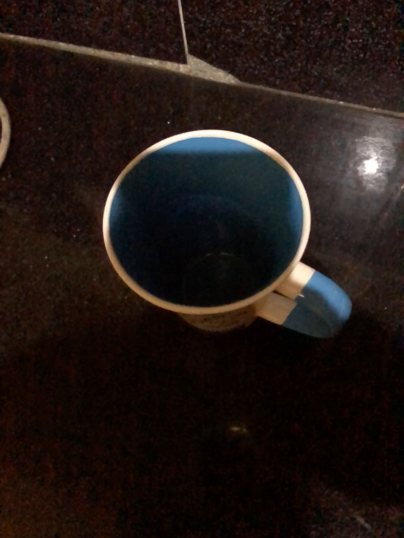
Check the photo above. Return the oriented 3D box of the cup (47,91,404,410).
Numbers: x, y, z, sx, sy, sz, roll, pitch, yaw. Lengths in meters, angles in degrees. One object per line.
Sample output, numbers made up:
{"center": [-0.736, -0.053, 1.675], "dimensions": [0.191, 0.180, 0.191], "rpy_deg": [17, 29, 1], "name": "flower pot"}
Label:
{"center": [0.016, -0.002, 0.243], "dimensions": [0.130, 0.110, 0.090], "rpy_deg": [27, 74, 14], "name": "cup"}
